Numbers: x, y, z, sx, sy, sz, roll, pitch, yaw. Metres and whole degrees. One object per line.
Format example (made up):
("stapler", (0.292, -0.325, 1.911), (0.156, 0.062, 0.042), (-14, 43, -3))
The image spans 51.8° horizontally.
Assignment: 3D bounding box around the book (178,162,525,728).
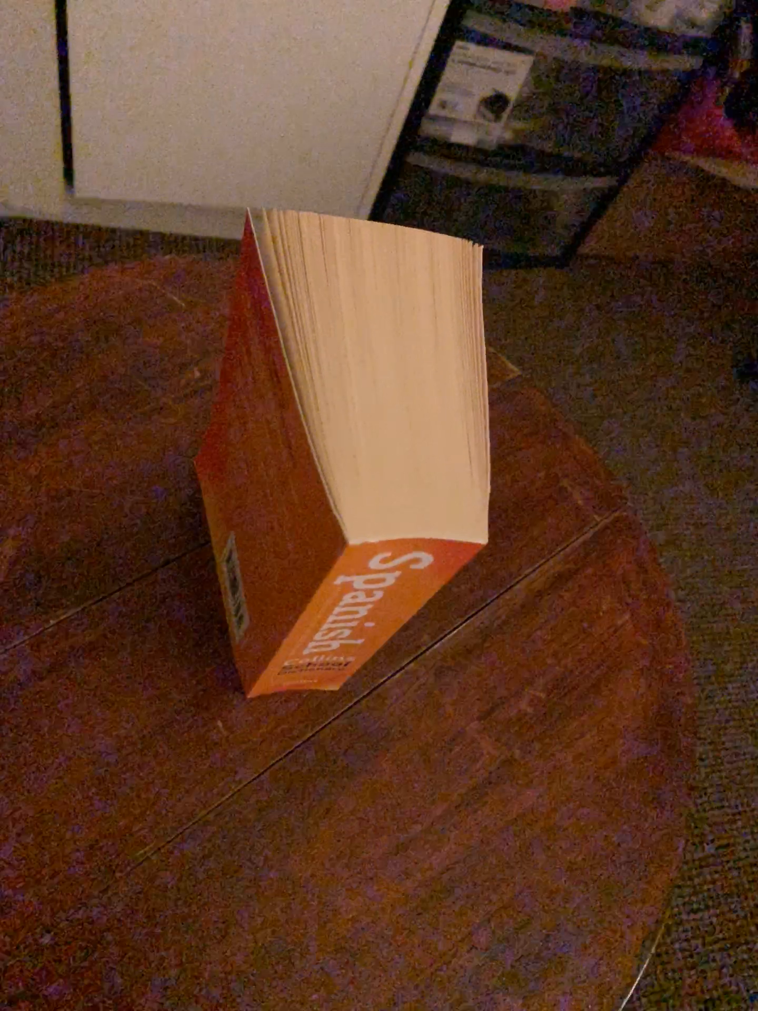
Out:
("book", (-0.015, -0.006, 0.276), (0.080, 0.149, 0.141), (3, 65, -7))
